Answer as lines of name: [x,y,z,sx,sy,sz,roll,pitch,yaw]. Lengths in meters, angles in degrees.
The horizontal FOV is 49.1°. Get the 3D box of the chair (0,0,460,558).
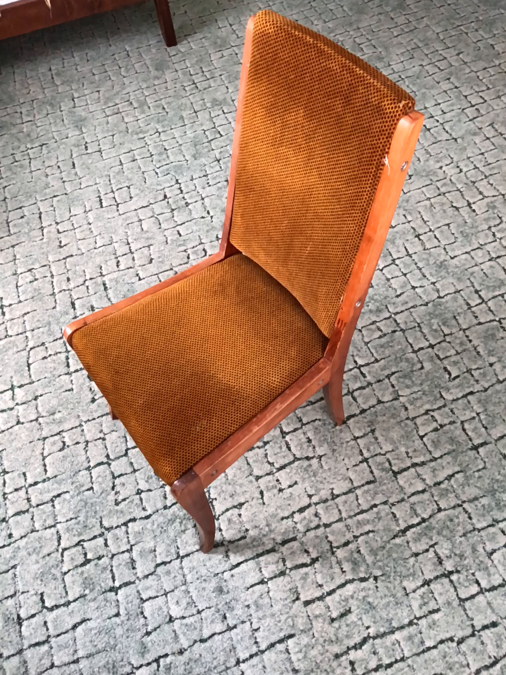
chair: [-0.079,-0.038,1.064,0.529,0.925,0.472,-34,61,-16]
